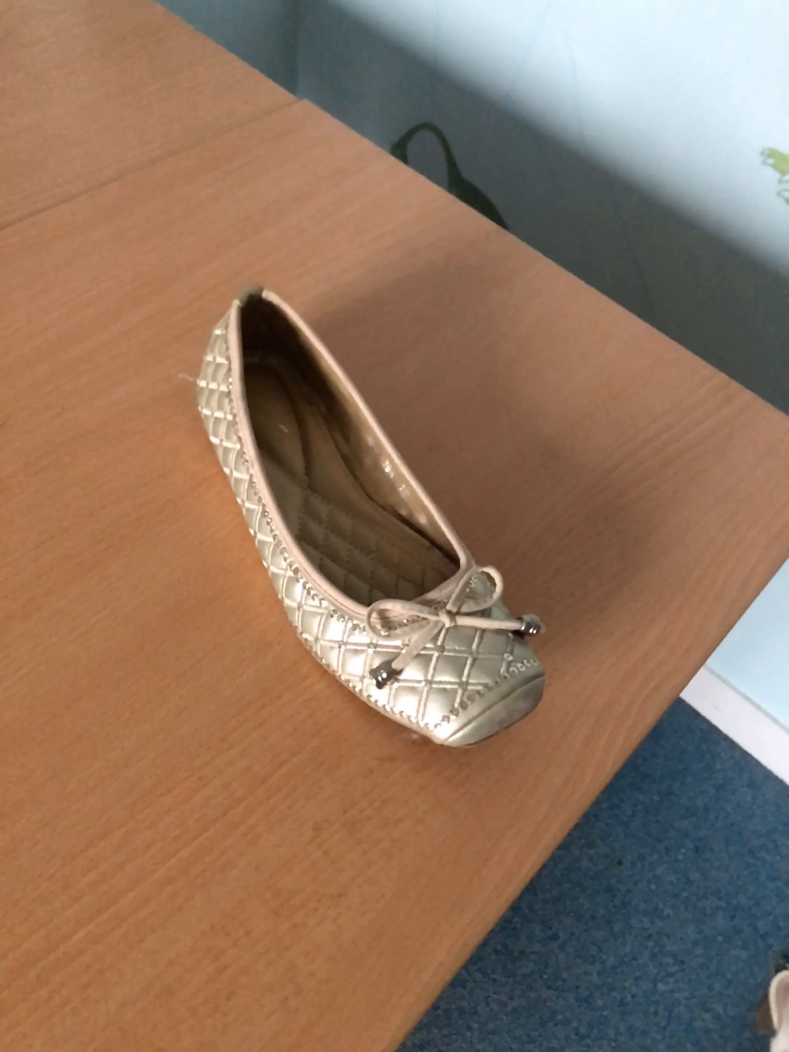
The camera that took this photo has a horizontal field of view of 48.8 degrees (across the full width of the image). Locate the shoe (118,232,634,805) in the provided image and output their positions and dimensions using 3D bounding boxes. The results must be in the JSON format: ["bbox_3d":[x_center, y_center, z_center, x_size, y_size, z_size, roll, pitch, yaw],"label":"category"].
[{"bbox_3d":[-0.023,-0.018,0.412,0.100,0.080,0.260,-26,63,-24],"label":"shoe"}]
